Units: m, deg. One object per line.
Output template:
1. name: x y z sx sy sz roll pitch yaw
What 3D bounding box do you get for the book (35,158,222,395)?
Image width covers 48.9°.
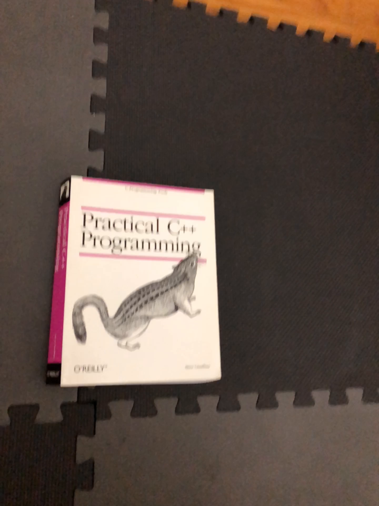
1. book: -0.066 0.030 0.496 0.200 0.050 0.250 5 75 -23
